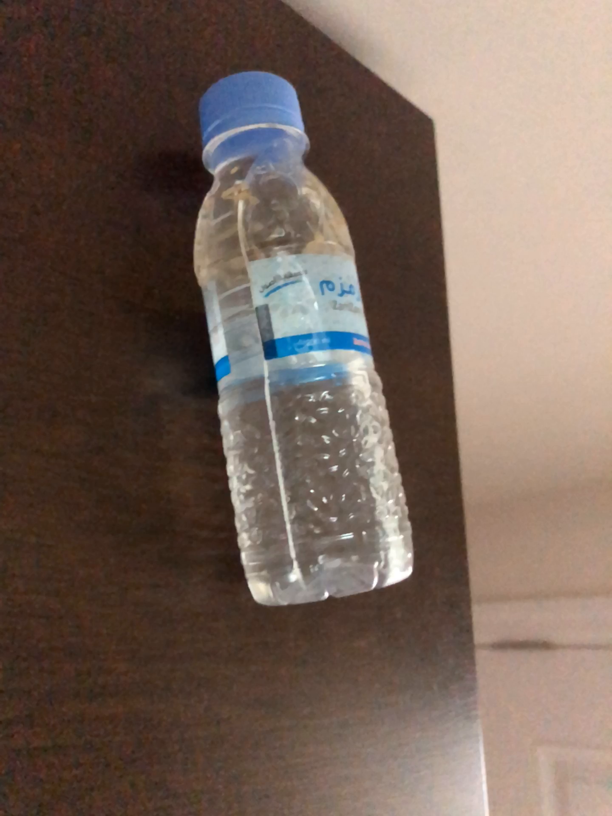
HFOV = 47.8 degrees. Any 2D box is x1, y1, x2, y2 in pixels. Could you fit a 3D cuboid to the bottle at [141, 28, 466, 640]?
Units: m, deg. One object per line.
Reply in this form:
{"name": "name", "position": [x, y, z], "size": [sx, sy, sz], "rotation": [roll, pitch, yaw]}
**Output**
{"name": "bottle", "position": [-0.002, -0.019, 0.210], "size": [0.050, 0.050, 0.160], "rotation": [1, 75, -54]}
